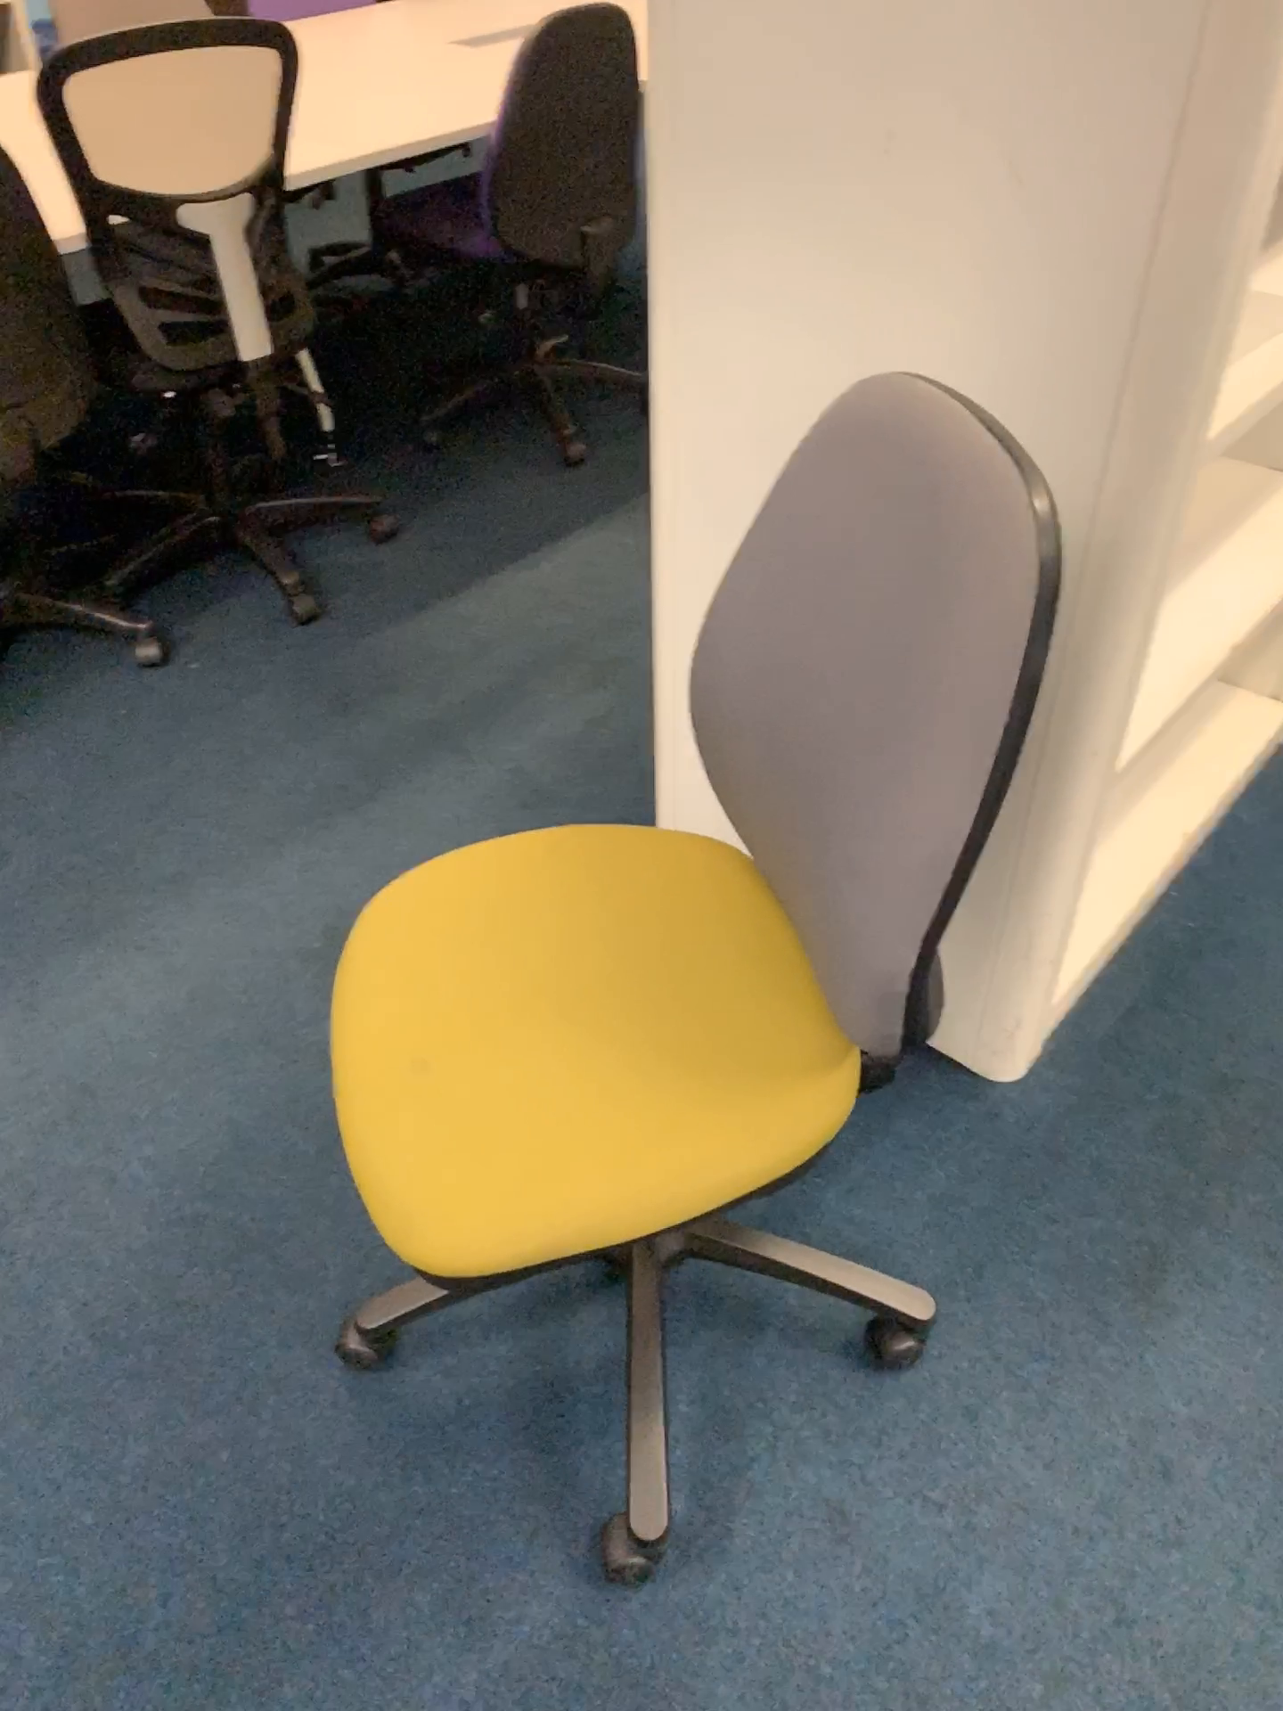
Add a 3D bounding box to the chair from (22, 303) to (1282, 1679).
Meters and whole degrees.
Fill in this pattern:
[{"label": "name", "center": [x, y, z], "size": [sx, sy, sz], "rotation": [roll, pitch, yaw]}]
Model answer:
[{"label": "chair", "center": [-0.025, 0.121, 1.155], "size": [0.661, 0.921, 0.646], "rotation": [-11, 42, -11]}]
